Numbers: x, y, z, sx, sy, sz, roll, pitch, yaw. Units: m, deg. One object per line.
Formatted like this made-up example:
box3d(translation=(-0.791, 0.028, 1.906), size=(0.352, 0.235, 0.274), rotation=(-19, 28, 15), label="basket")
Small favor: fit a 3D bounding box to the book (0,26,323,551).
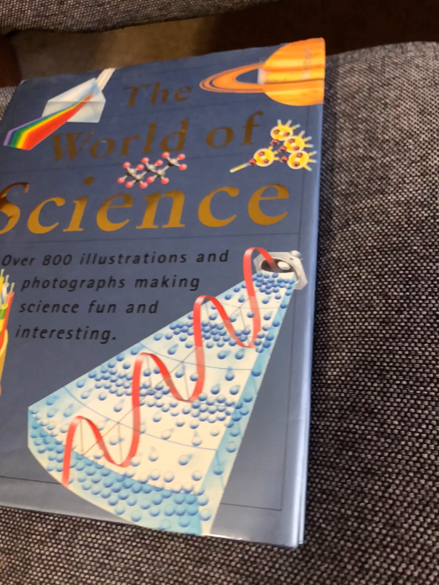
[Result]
box3d(translation=(-0.057, -0.026, 0.271), size=(0.220, 0.030, 0.276), rotation=(-1, 62, 15), label="book")
